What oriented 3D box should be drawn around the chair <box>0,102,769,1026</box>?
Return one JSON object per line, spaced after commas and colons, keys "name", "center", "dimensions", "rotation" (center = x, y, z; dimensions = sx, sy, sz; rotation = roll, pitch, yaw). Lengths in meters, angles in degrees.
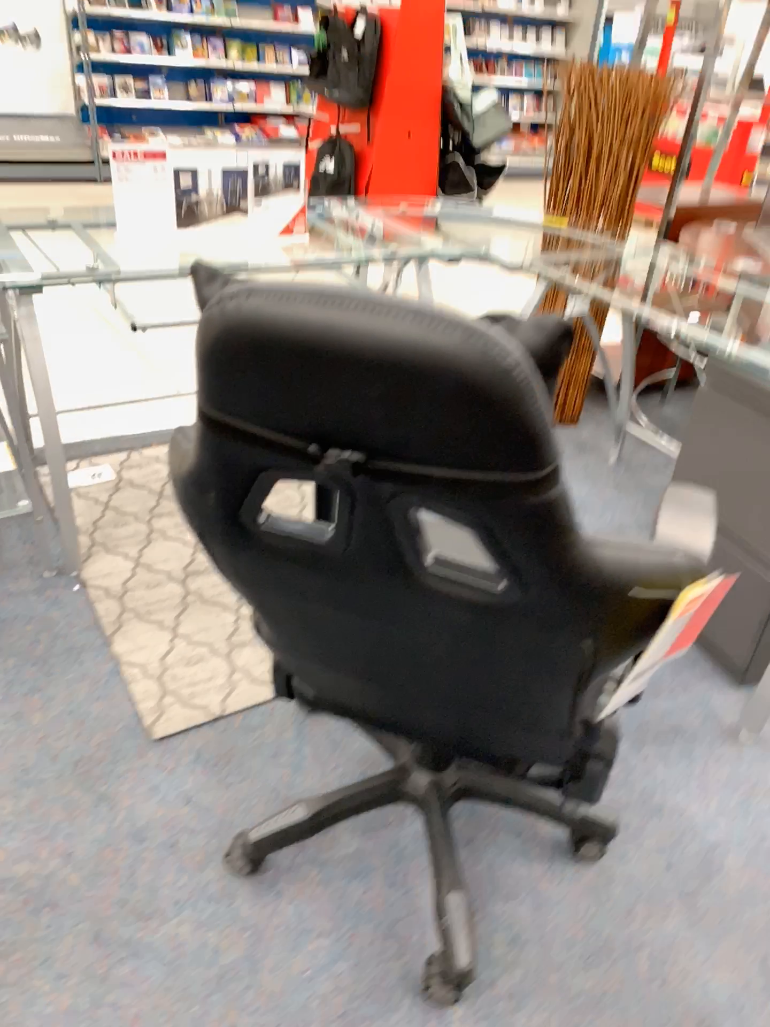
{"name": "chair", "center": [0.084, 0.082, 1.099], "dimensions": [0.786, 1.061, 0.915], "rotation": [14, 33, 13]}
